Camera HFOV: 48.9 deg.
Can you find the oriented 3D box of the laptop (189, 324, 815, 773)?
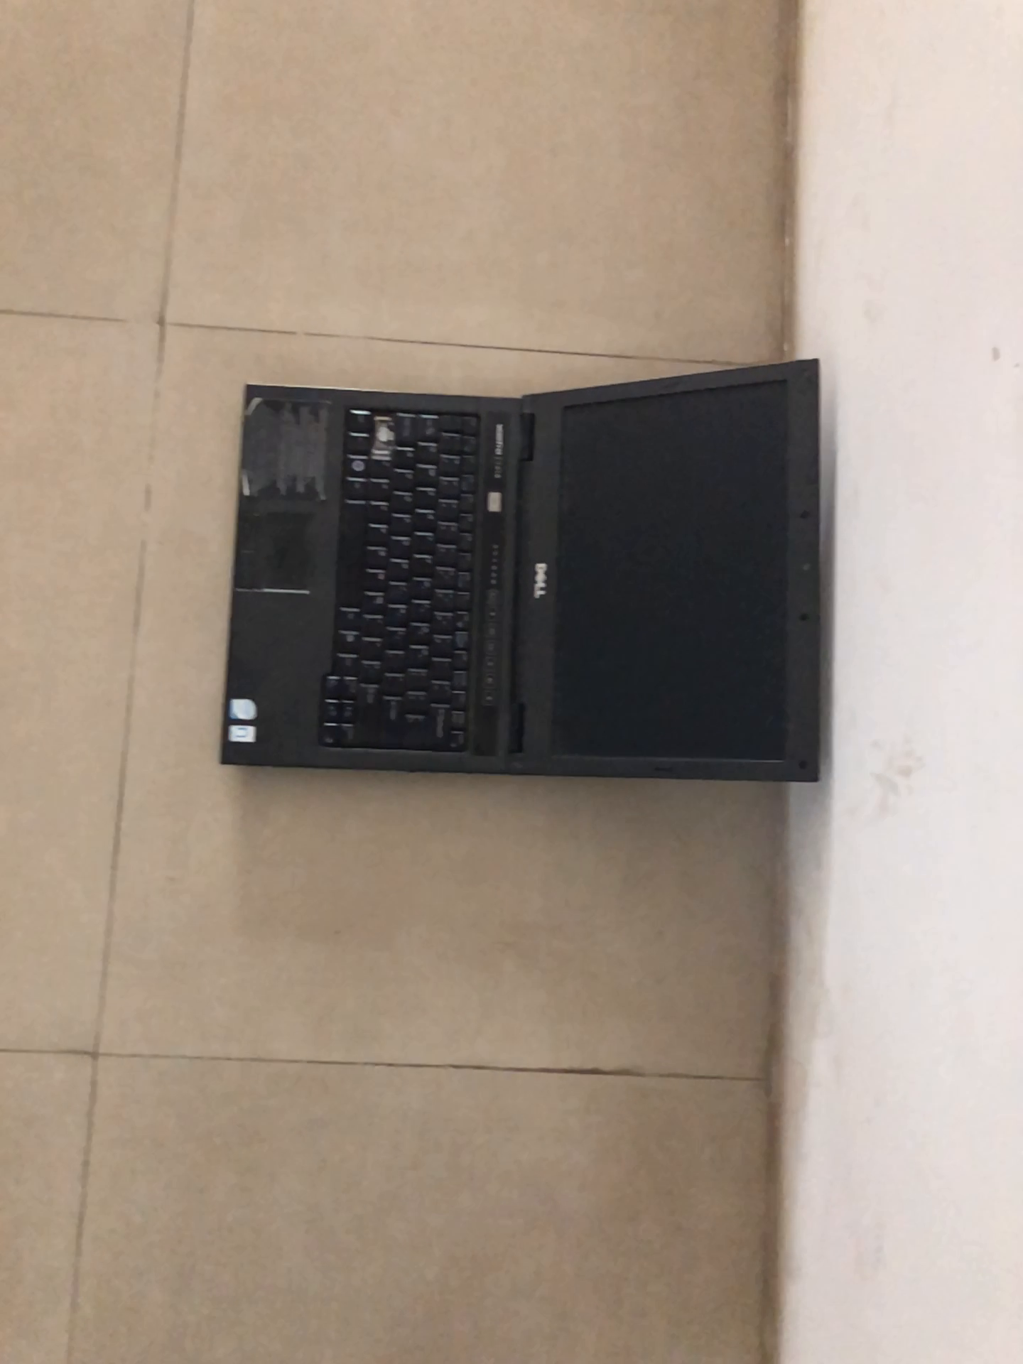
[{"bbox_3d":[-0.001,-0.092,0.854,0.432,0.114,0.299,3,82,-3],"label":"laptop"}]
